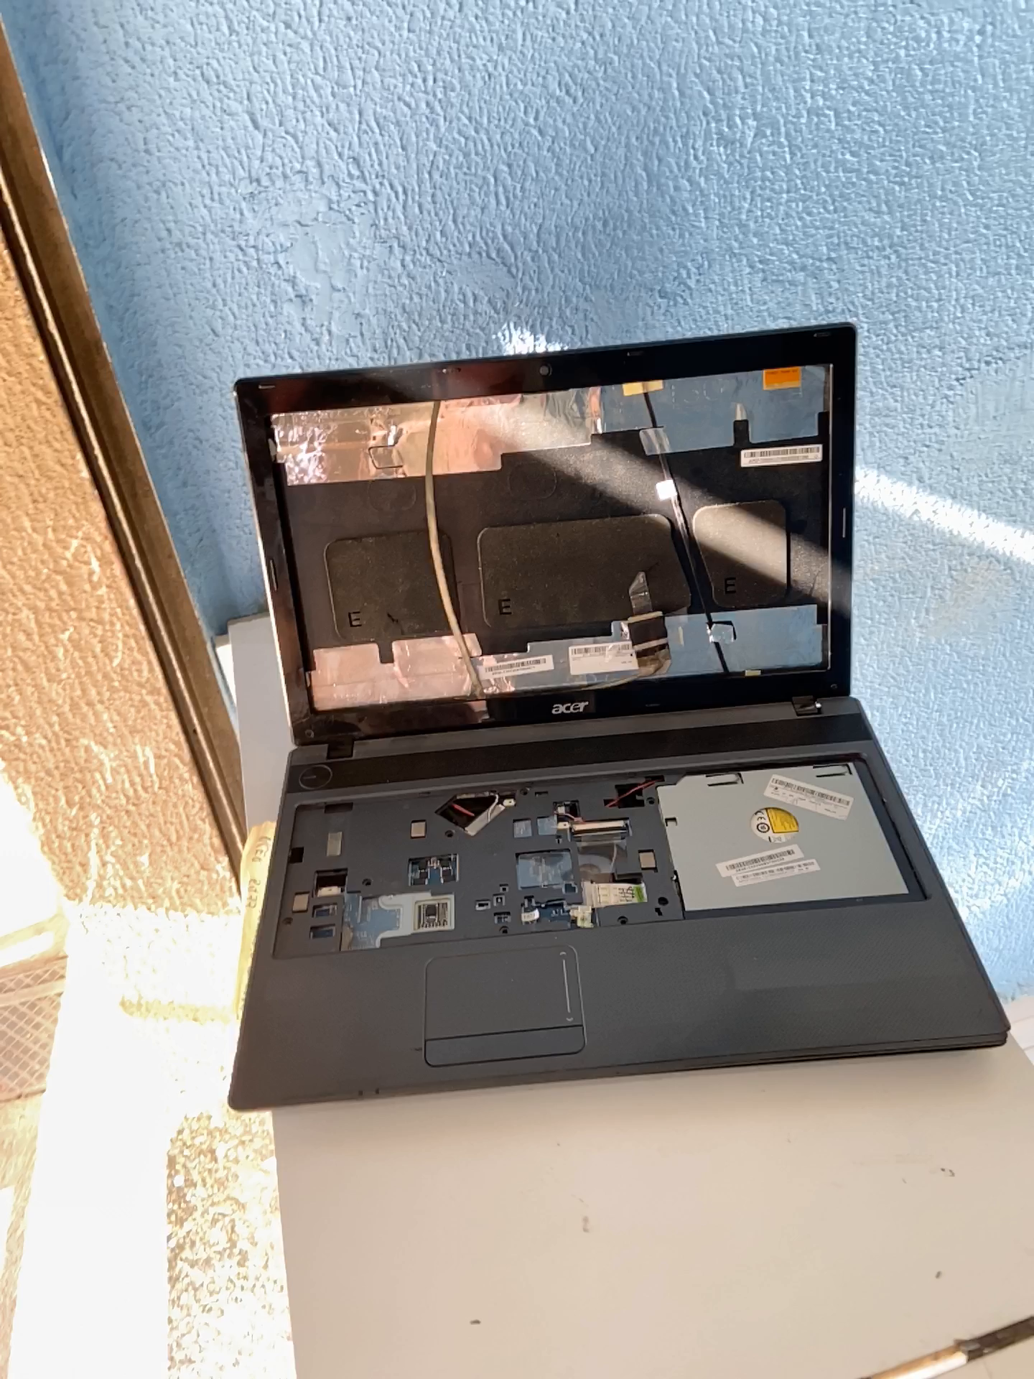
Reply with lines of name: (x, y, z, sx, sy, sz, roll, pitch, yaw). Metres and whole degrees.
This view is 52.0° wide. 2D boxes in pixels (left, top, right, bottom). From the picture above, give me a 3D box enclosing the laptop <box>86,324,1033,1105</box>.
laptop: (0.033, -0.011, 0.578, 0.378, 0.210, 0.351, -5, 39, 1)
